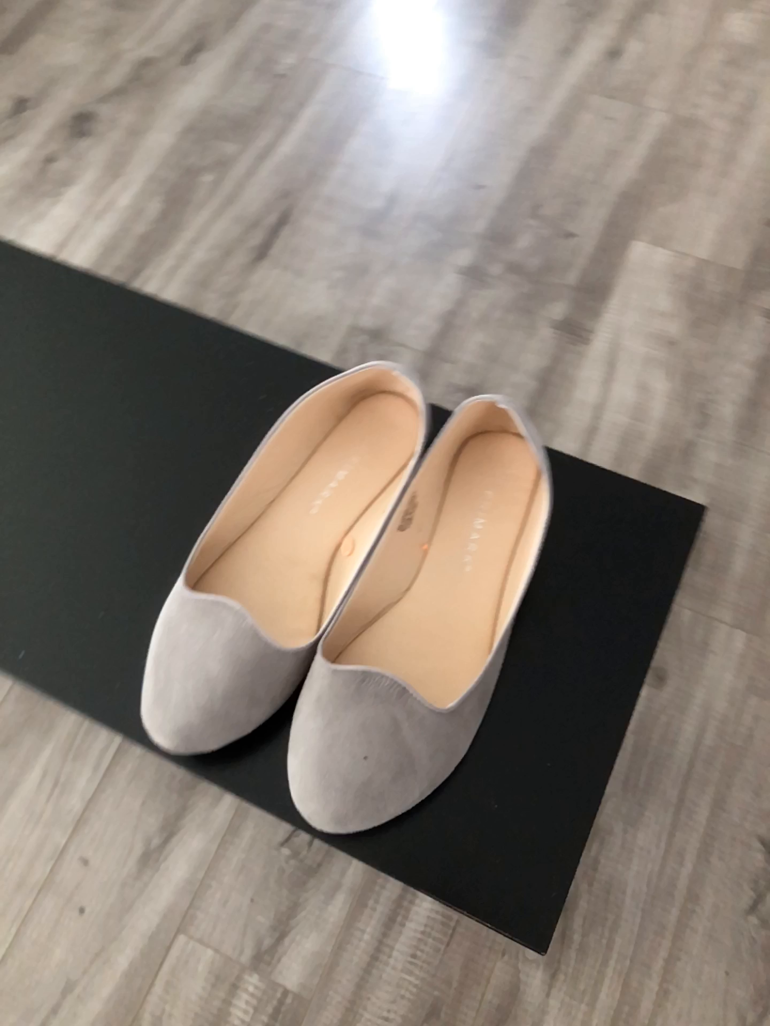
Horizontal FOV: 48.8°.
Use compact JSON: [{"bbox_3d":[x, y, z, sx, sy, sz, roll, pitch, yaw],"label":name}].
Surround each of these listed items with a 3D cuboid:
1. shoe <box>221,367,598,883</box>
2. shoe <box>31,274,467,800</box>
[{"bbox_3d":[0.021,0.052,0.456,0.100,0.060,0.250,21,69,12],"label":"shoe"},{"bbox_3d":[-0.057,0.009,0.459,0.100,0.090,0.253,24,69,13],"label":"shoe"}]
